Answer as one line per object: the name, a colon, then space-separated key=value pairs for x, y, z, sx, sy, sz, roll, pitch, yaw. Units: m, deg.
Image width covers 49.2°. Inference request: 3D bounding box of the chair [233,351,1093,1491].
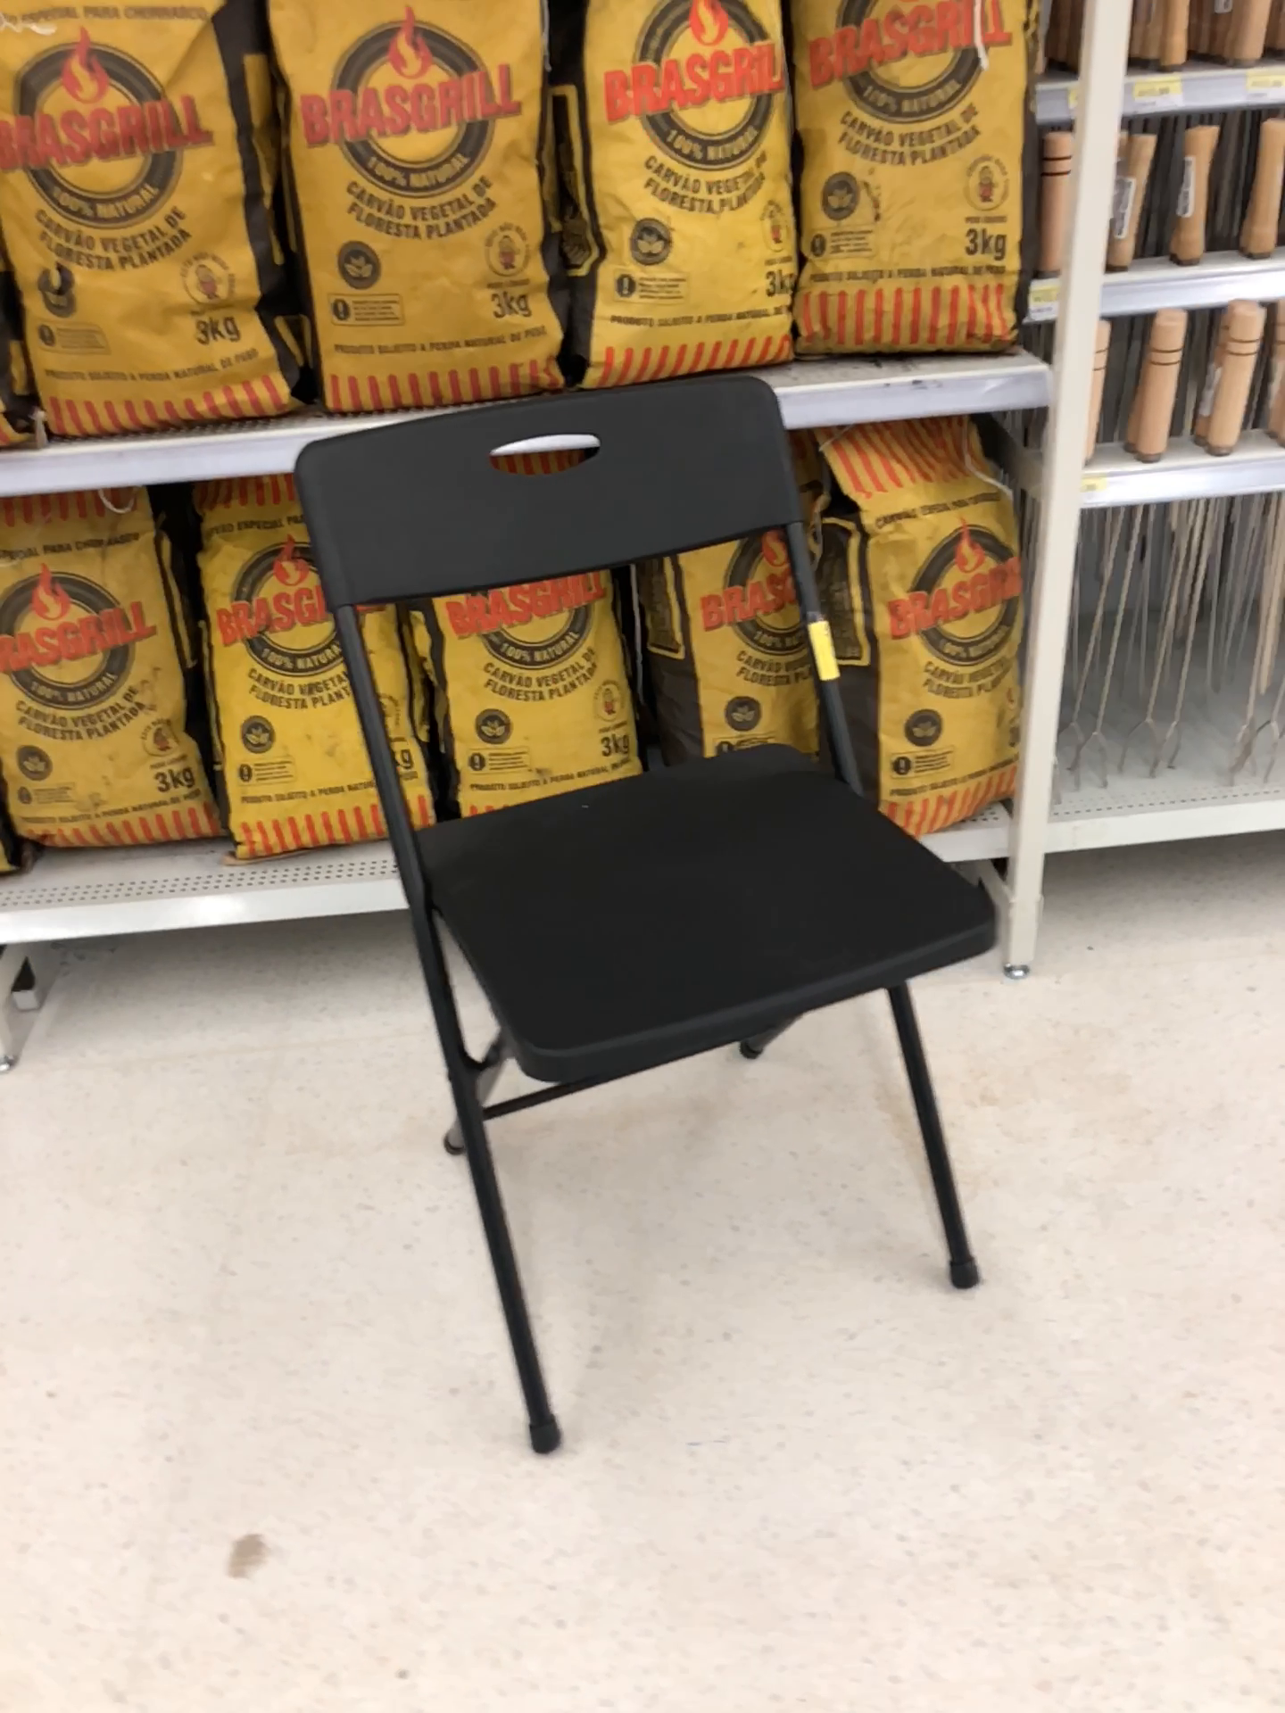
chair: x=0.001 y=0.024 z=1.158 sx=0.460 sy=0.715 sz=0.453 roll=-15 pitch=32 yaw=-17
